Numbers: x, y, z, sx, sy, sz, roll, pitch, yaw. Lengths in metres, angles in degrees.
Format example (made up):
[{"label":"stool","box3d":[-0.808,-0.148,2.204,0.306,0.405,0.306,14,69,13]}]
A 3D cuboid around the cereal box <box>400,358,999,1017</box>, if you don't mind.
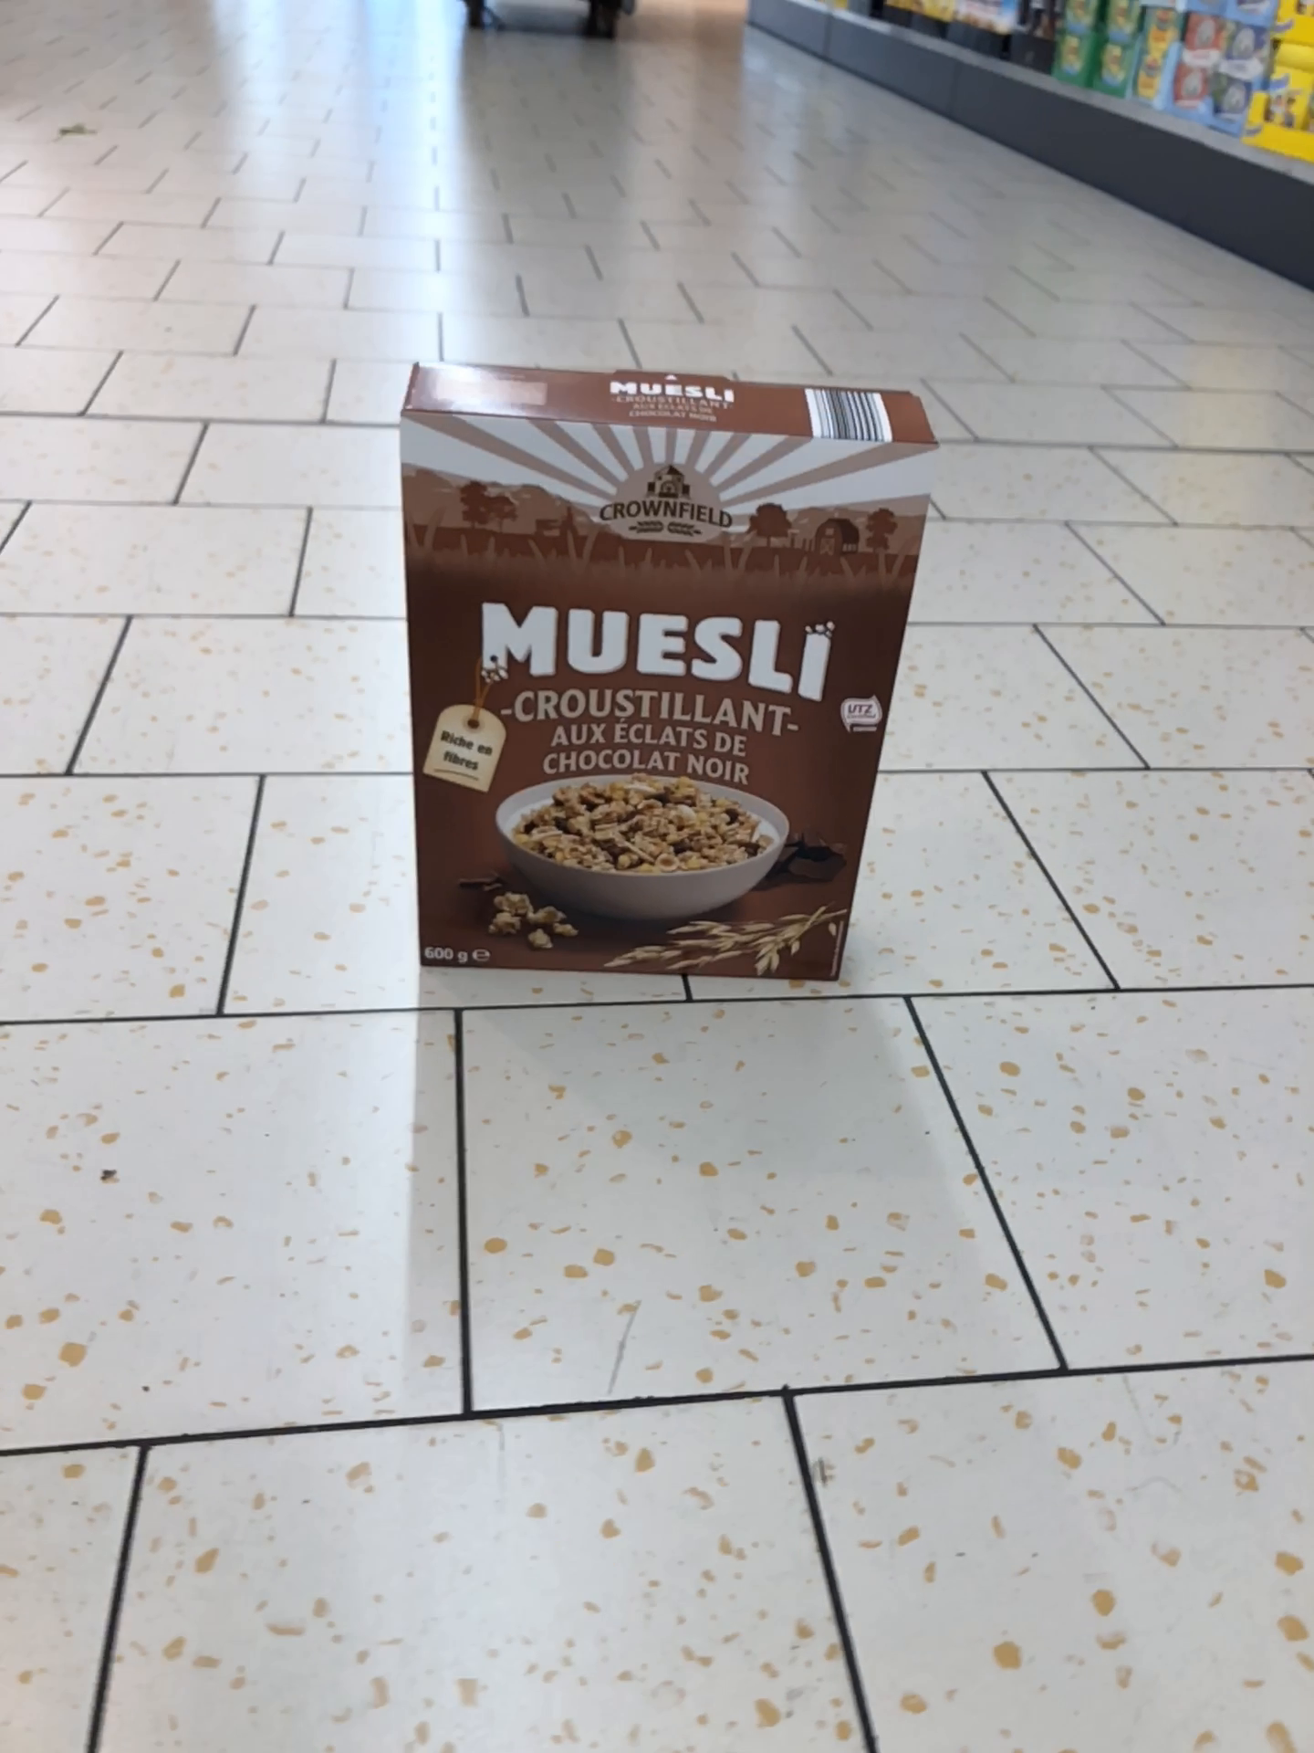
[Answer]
[{"label":"cereal box","box3d":[0.007,-0.067,0.577,0.200,0.238,0.070,4,33,-1]}]
